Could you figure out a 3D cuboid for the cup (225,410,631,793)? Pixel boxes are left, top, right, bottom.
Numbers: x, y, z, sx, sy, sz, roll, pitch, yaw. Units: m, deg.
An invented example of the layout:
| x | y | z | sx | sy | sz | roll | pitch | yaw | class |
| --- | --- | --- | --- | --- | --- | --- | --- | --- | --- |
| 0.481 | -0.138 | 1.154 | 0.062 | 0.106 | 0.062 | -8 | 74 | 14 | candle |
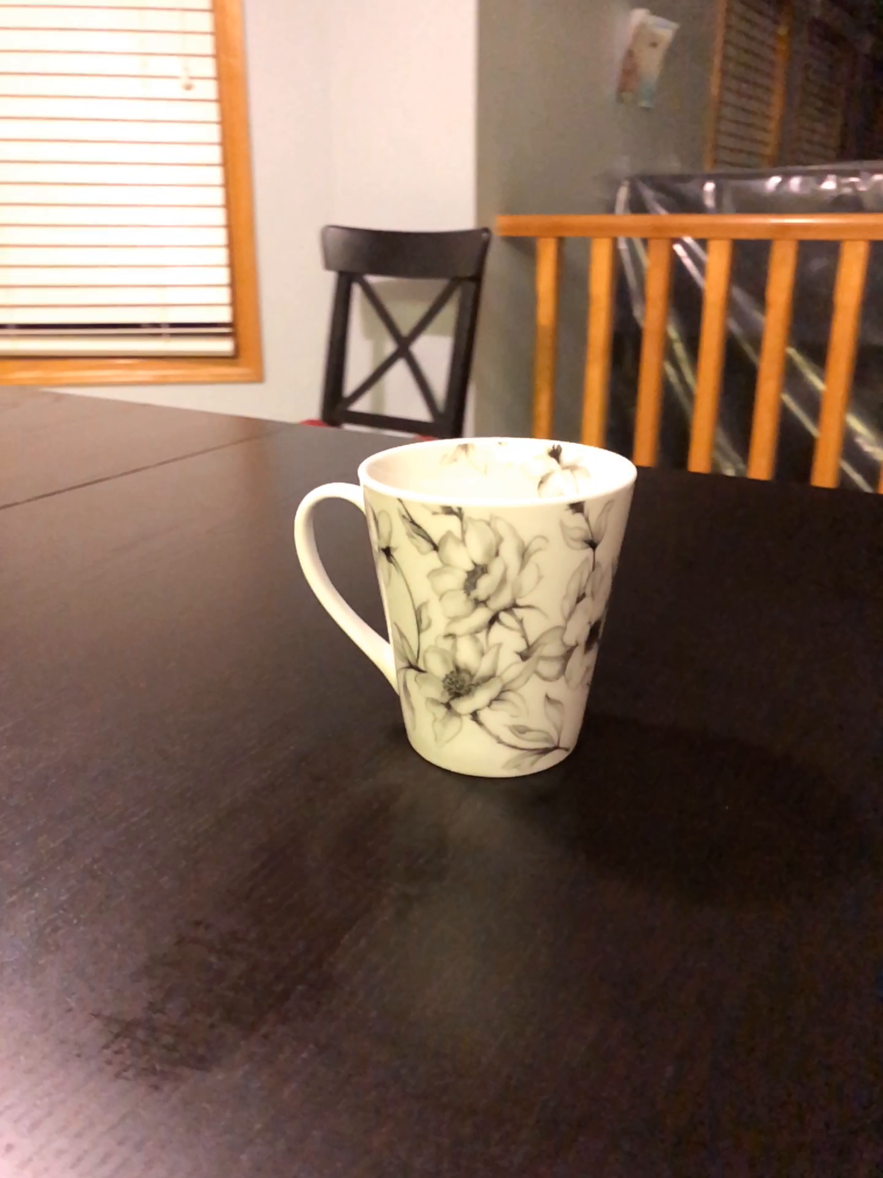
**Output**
| x | y | z | sx | sy | sz | roll | pitch | yaw | class |
| --- | --- | --- | --- | --- | --- | --- | --- | --- | --- |
| 0.002 | -0.004 | 0.353 | 0.120 | 0.100 | 0.100 | 4 | 20 | 11 | cup |
